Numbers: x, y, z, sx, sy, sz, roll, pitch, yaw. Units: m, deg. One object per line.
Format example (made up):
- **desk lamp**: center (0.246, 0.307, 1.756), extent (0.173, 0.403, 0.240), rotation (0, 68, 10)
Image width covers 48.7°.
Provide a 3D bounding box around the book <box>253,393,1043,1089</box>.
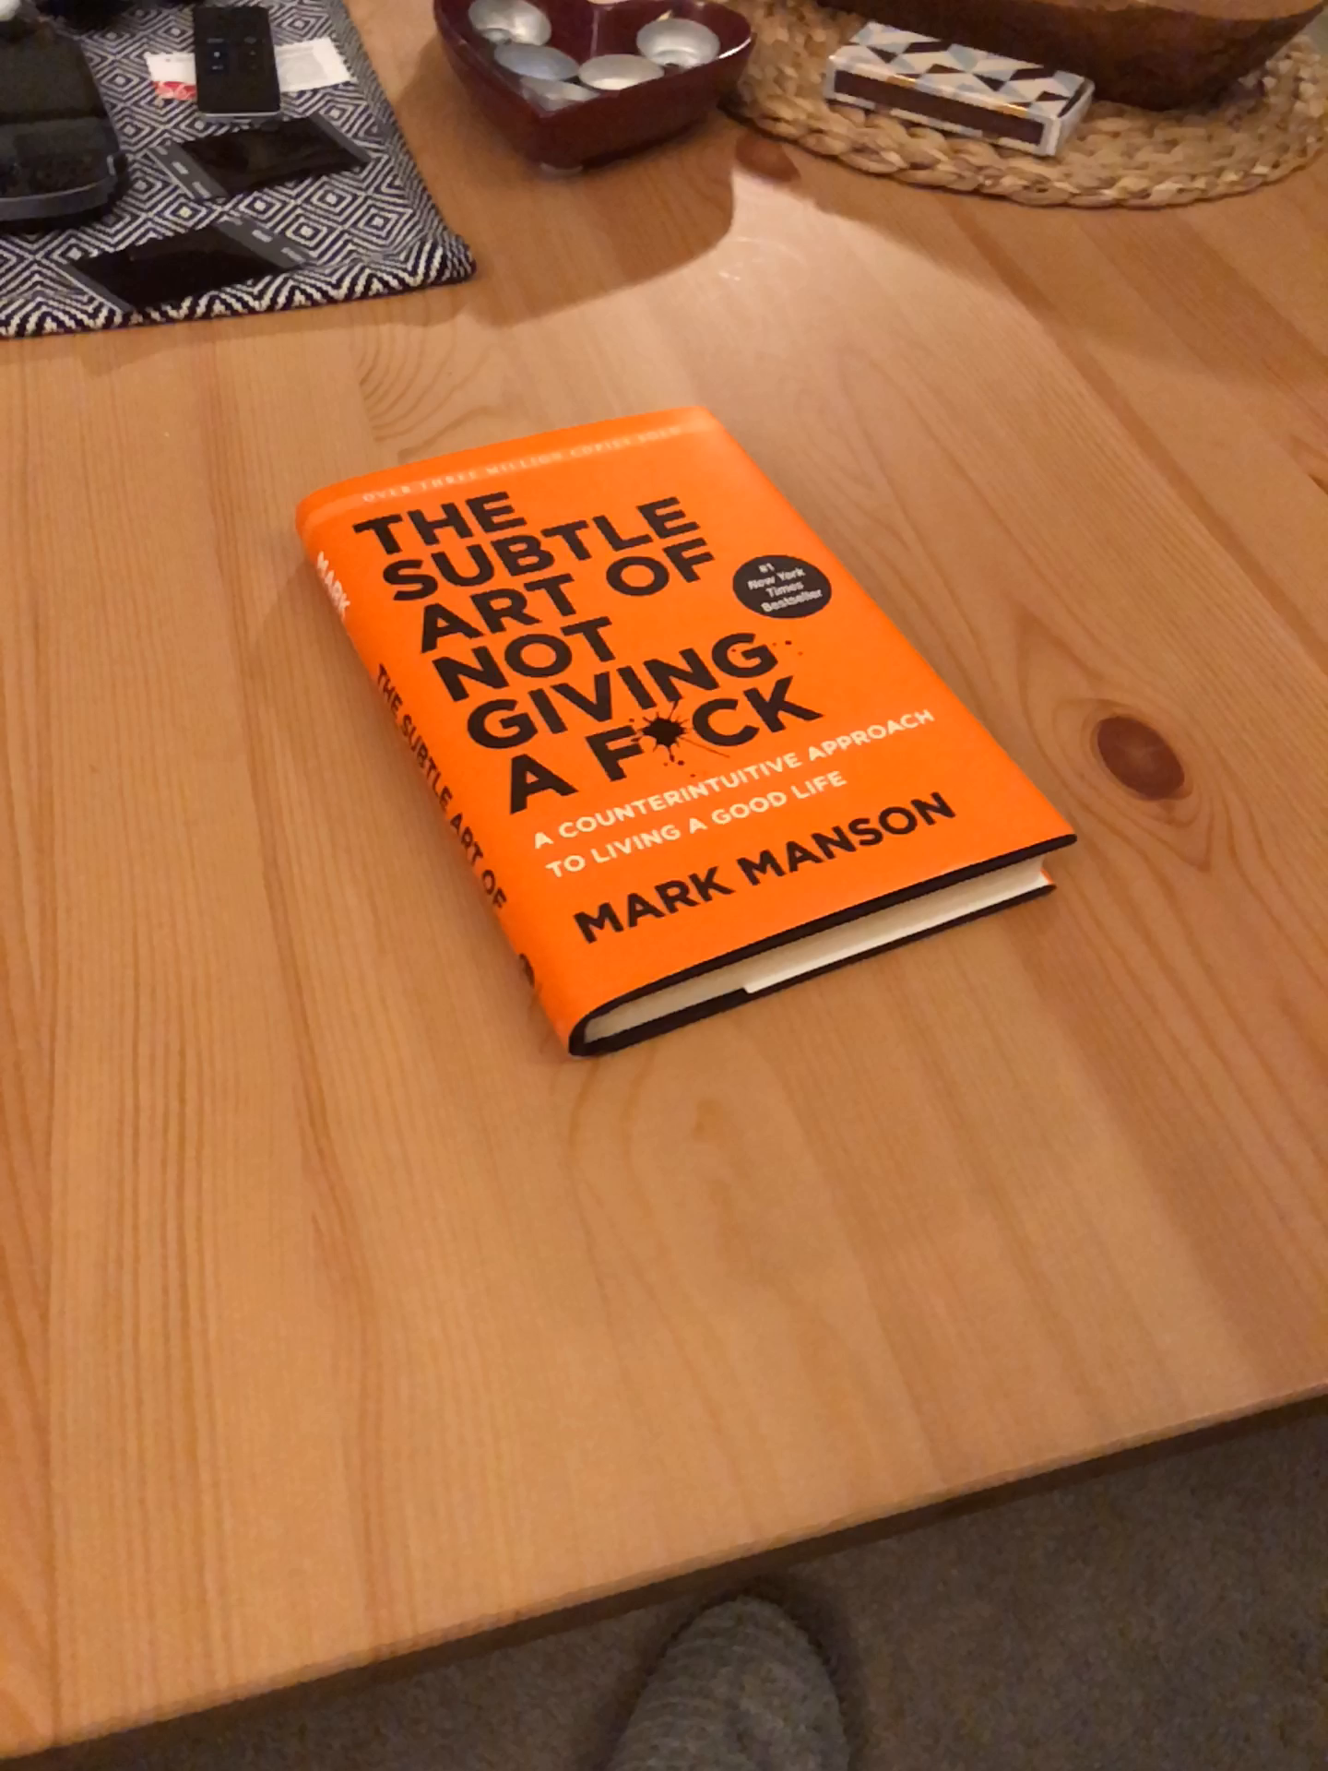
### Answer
- **book**: center (-0.015, -0.061, 0.450), extent (0.160, 0.030, 0.221), rotation (-18, 56, -17)
